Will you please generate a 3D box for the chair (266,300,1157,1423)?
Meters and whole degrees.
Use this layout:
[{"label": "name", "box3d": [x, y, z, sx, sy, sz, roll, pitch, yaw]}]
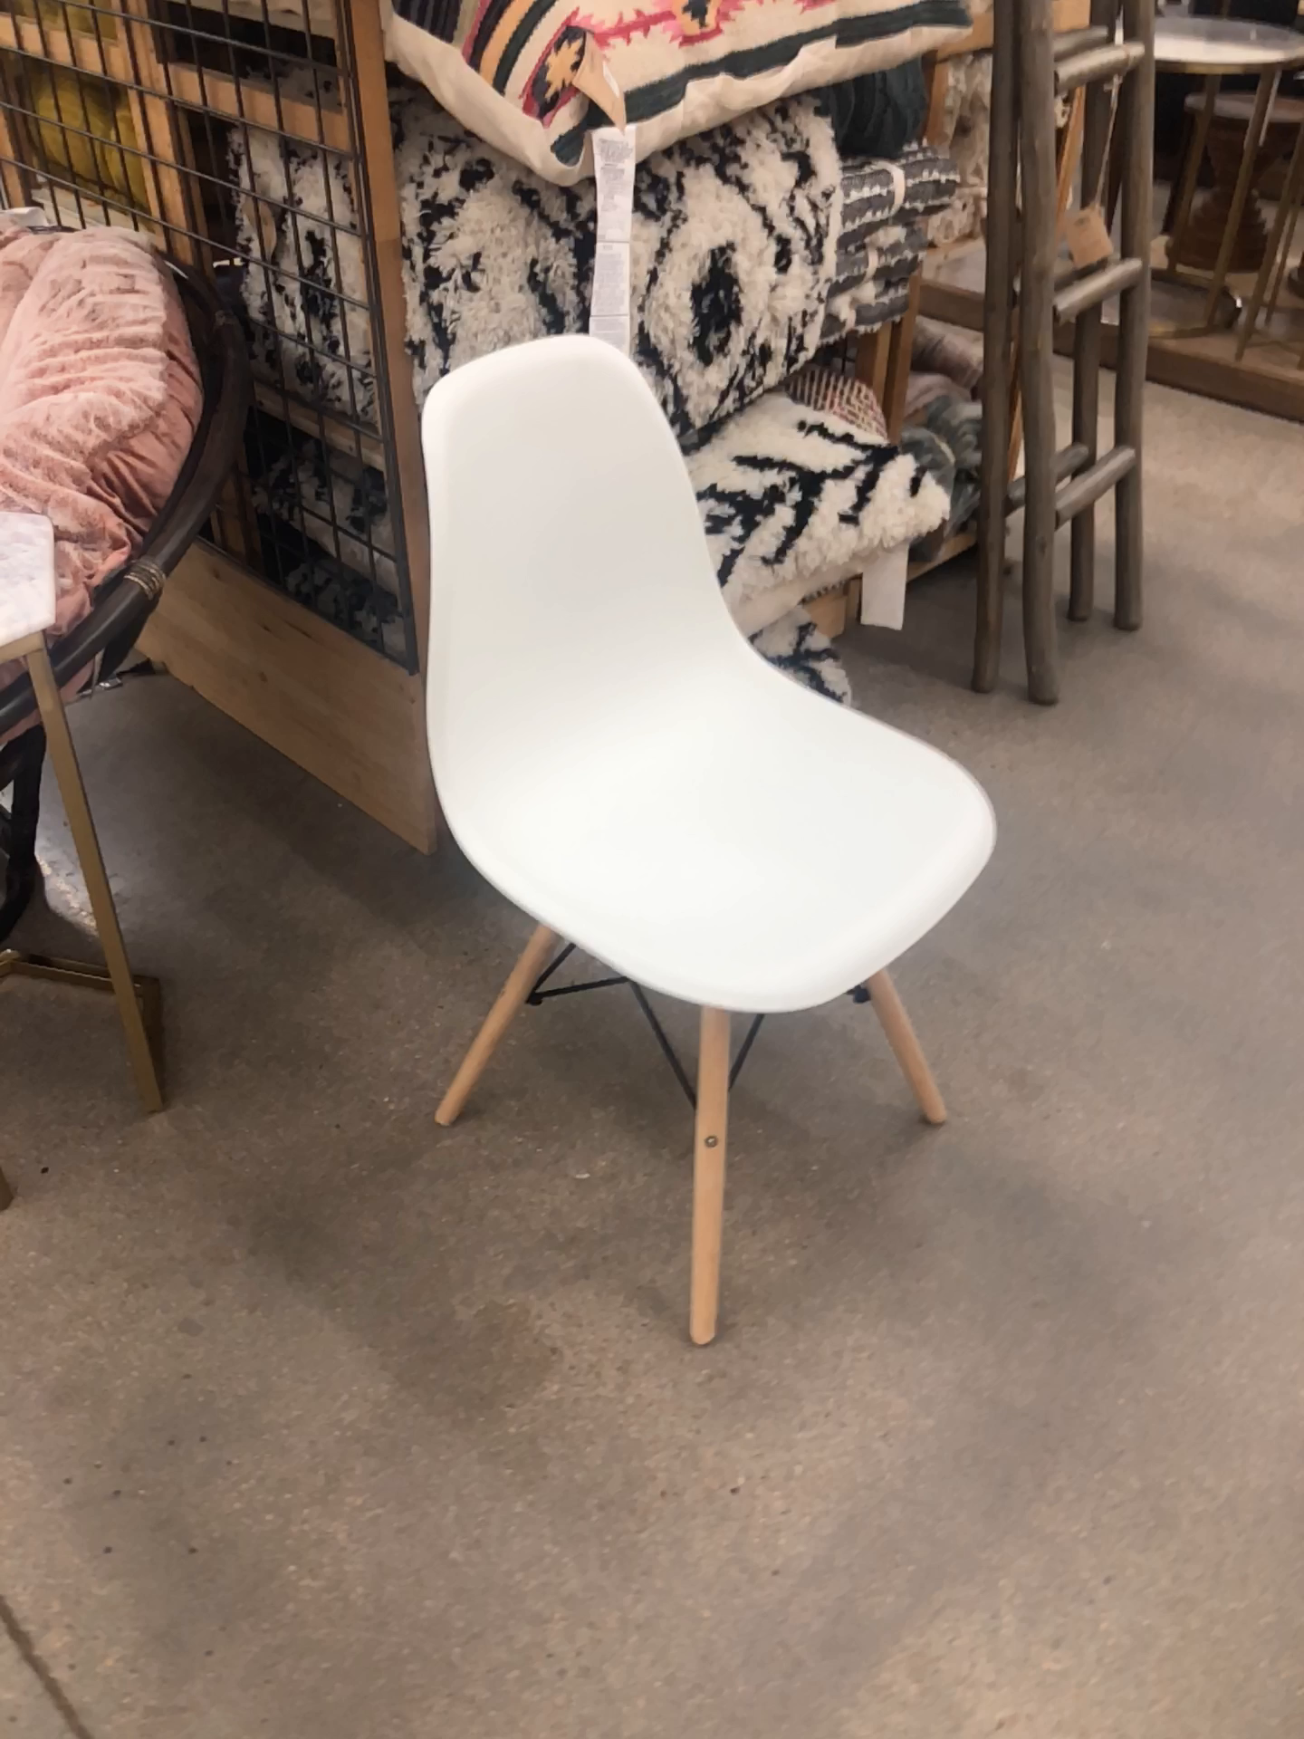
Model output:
[{"label": "chair", "box3d": [0.034, -0.017, 1.351, 0.531, 0.806, 0.441, 31, 47, 33]}]
